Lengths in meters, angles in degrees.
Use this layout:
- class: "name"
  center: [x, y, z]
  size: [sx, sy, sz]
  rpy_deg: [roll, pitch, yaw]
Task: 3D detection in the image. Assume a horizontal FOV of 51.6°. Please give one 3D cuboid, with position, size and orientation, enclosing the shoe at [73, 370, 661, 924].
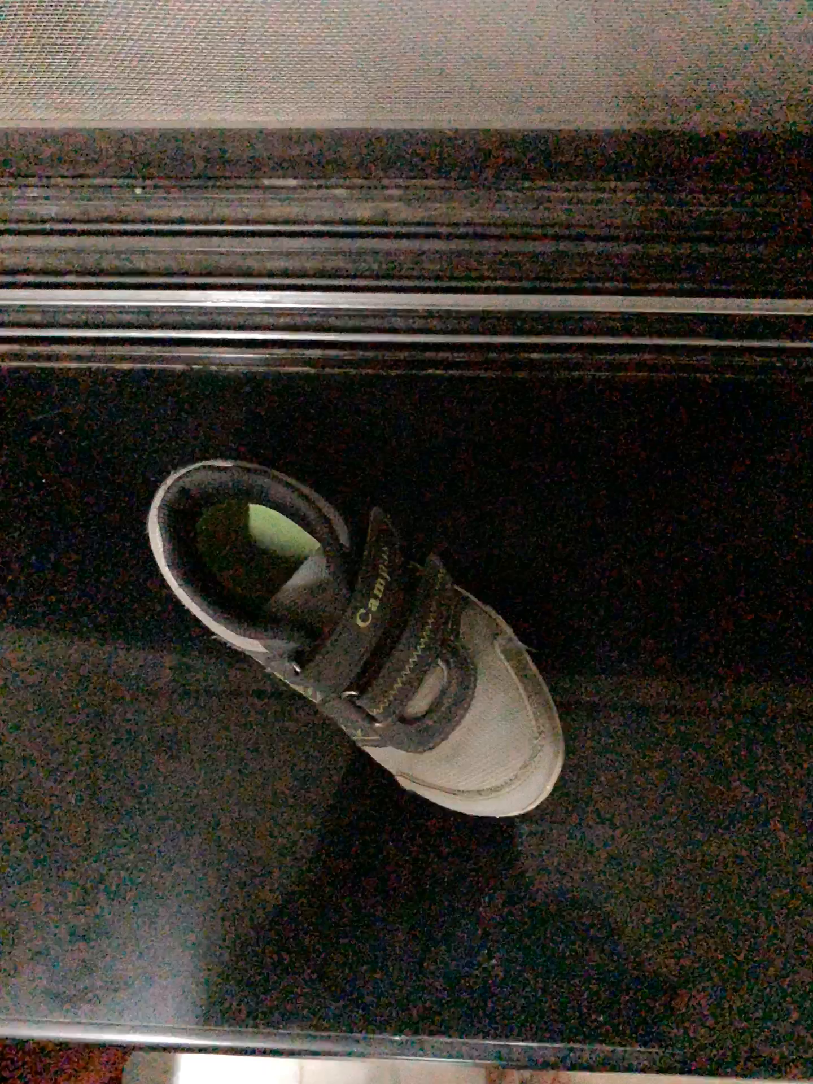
- class: "shoe"
  center: [-0.018, 0.041, 0.372]
  size: [0.230, 0.080, 0.090]
  rpy_deg: [40, 84, 9]
